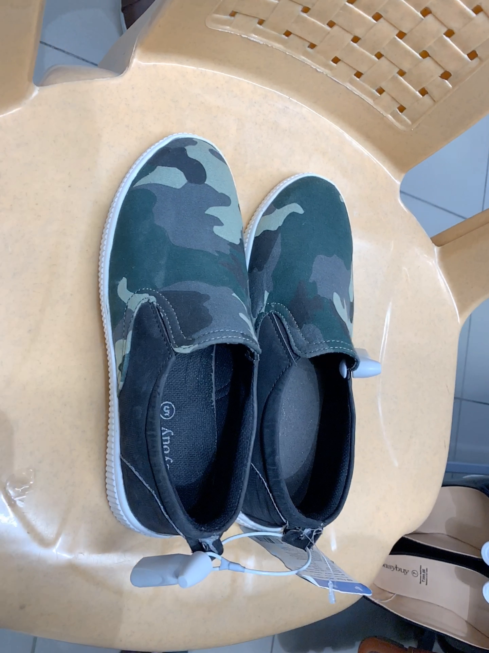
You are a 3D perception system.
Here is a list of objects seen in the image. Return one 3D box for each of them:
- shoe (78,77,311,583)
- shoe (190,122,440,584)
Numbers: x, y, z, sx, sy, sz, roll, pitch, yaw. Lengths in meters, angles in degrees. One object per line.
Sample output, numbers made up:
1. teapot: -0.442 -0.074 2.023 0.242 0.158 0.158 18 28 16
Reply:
1. shoe: -0.033 0.003 0.283 0.090 0.100 0.220 4 86 -25
2. shoe: 0.044 0.018 0.322 0.090 0.100 0.240 13 80 -25
